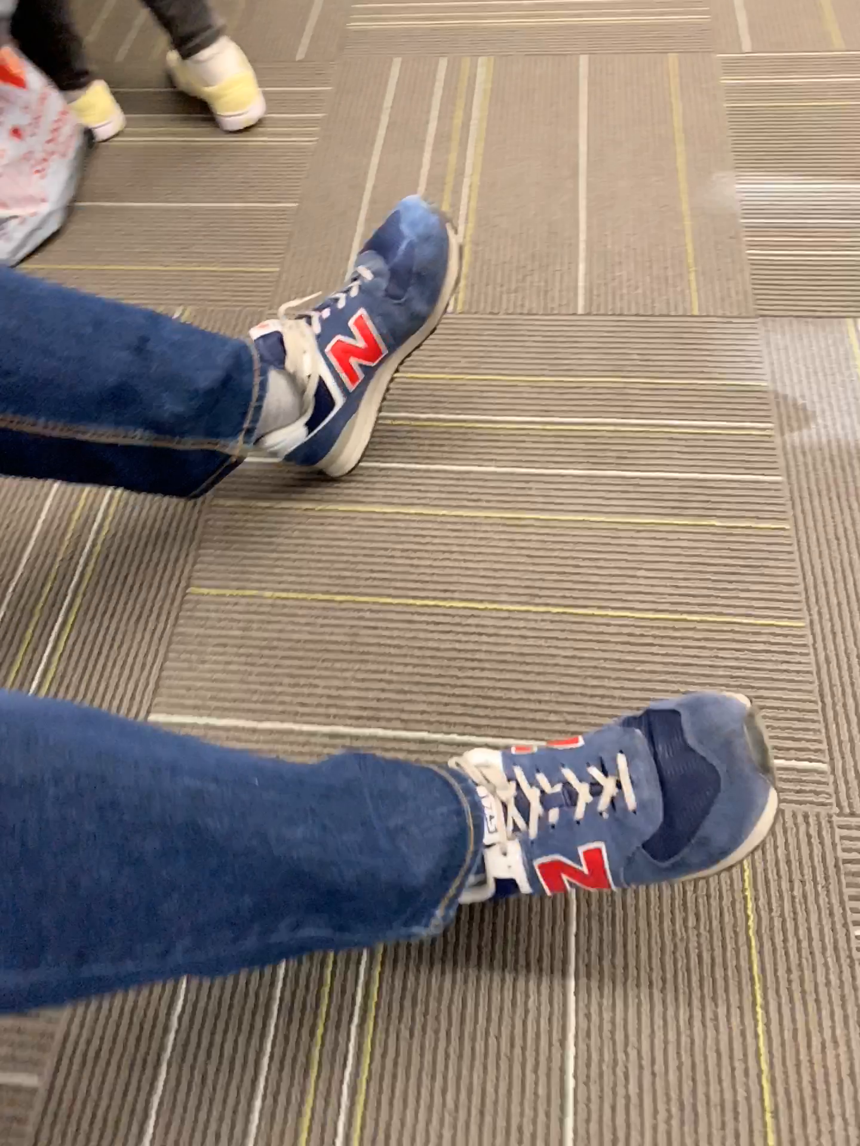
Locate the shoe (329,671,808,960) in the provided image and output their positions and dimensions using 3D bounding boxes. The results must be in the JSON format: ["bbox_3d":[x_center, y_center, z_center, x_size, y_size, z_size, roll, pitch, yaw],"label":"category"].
[{"bbox_3d":[0.076,0.176,0.616,0.135,0.296,0.120,5,62,-40],"label":"shoe"}]

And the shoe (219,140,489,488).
[{"bbox_3d":[-0.085,-0.239,0.864,0.095,0.302,0.115,0,44,-46],"label":"shoe"}]
